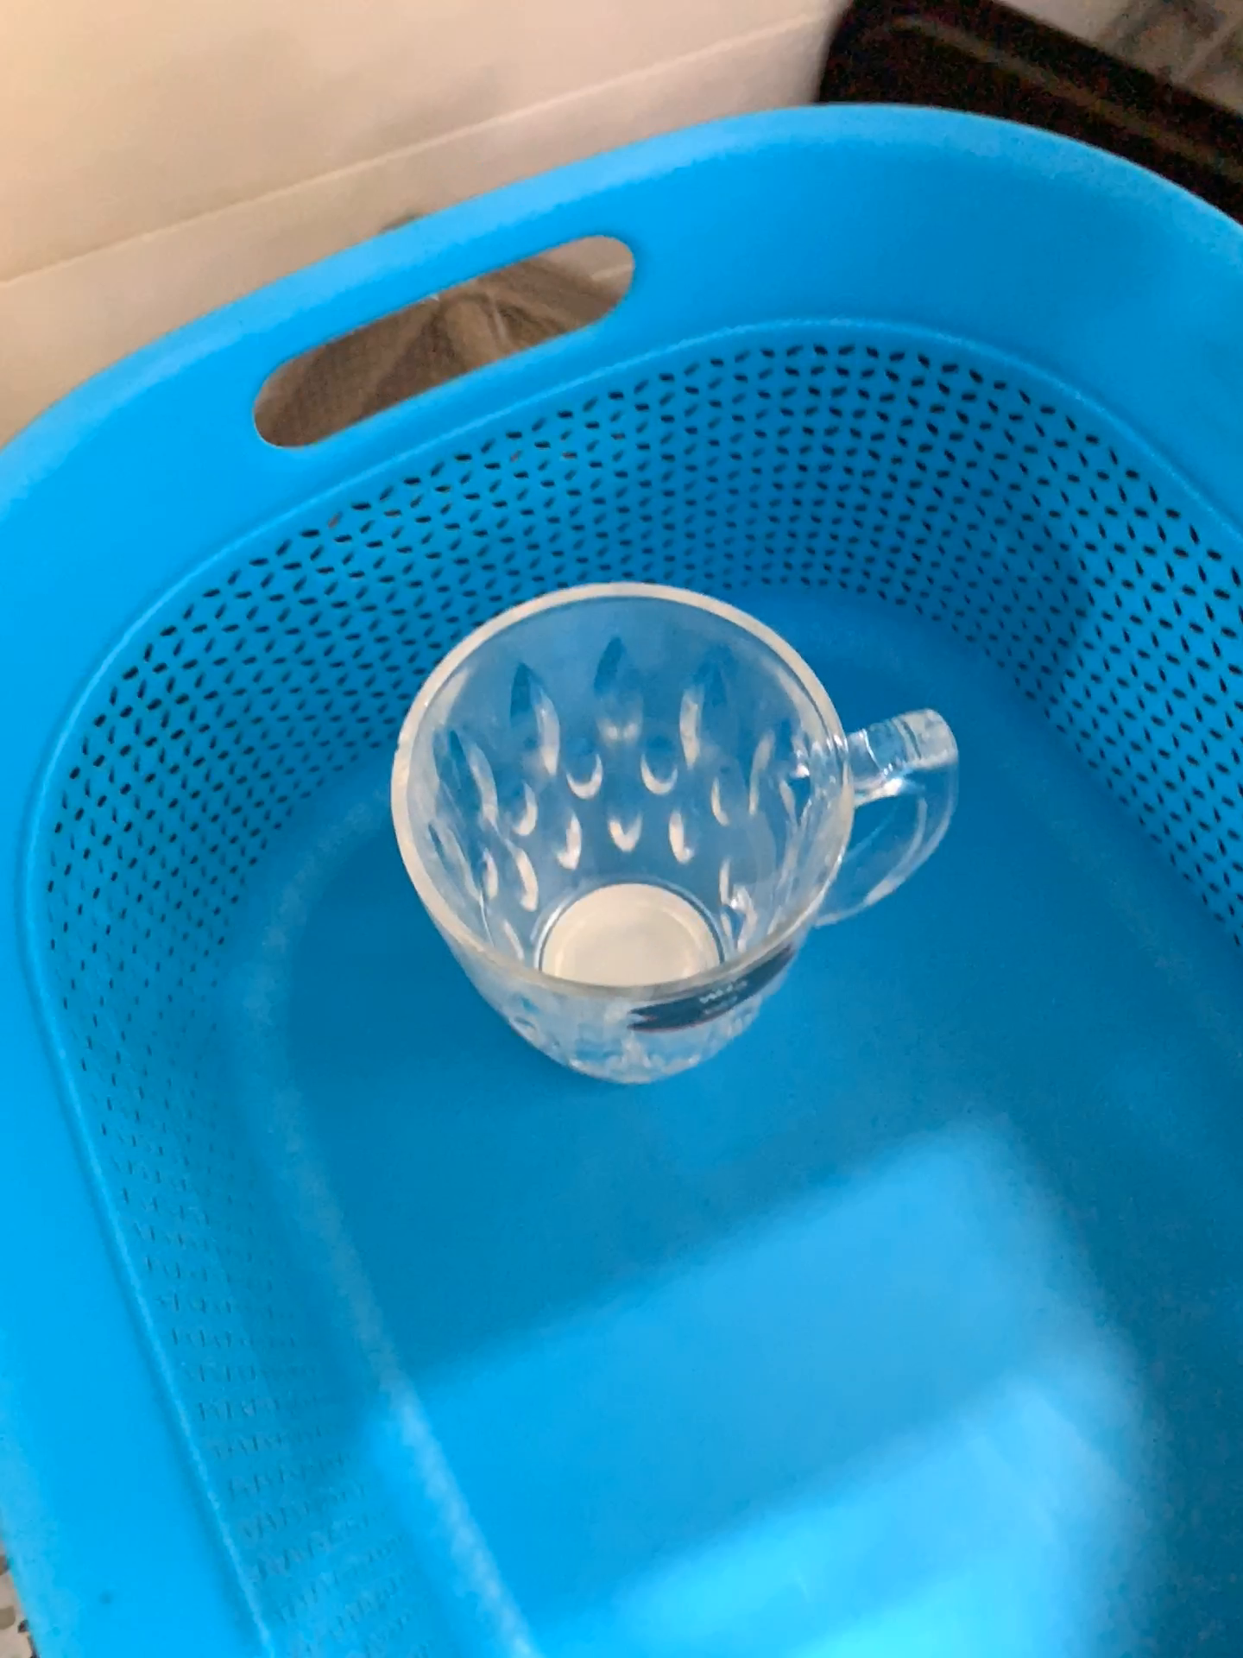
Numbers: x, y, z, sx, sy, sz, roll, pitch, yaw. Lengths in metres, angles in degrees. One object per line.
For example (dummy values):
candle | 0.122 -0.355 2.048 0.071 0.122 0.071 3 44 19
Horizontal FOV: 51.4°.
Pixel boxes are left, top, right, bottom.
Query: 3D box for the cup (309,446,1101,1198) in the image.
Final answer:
cup | 0.014 0.007 0.272 0.109 0.117 0.078 -27 68 -10
